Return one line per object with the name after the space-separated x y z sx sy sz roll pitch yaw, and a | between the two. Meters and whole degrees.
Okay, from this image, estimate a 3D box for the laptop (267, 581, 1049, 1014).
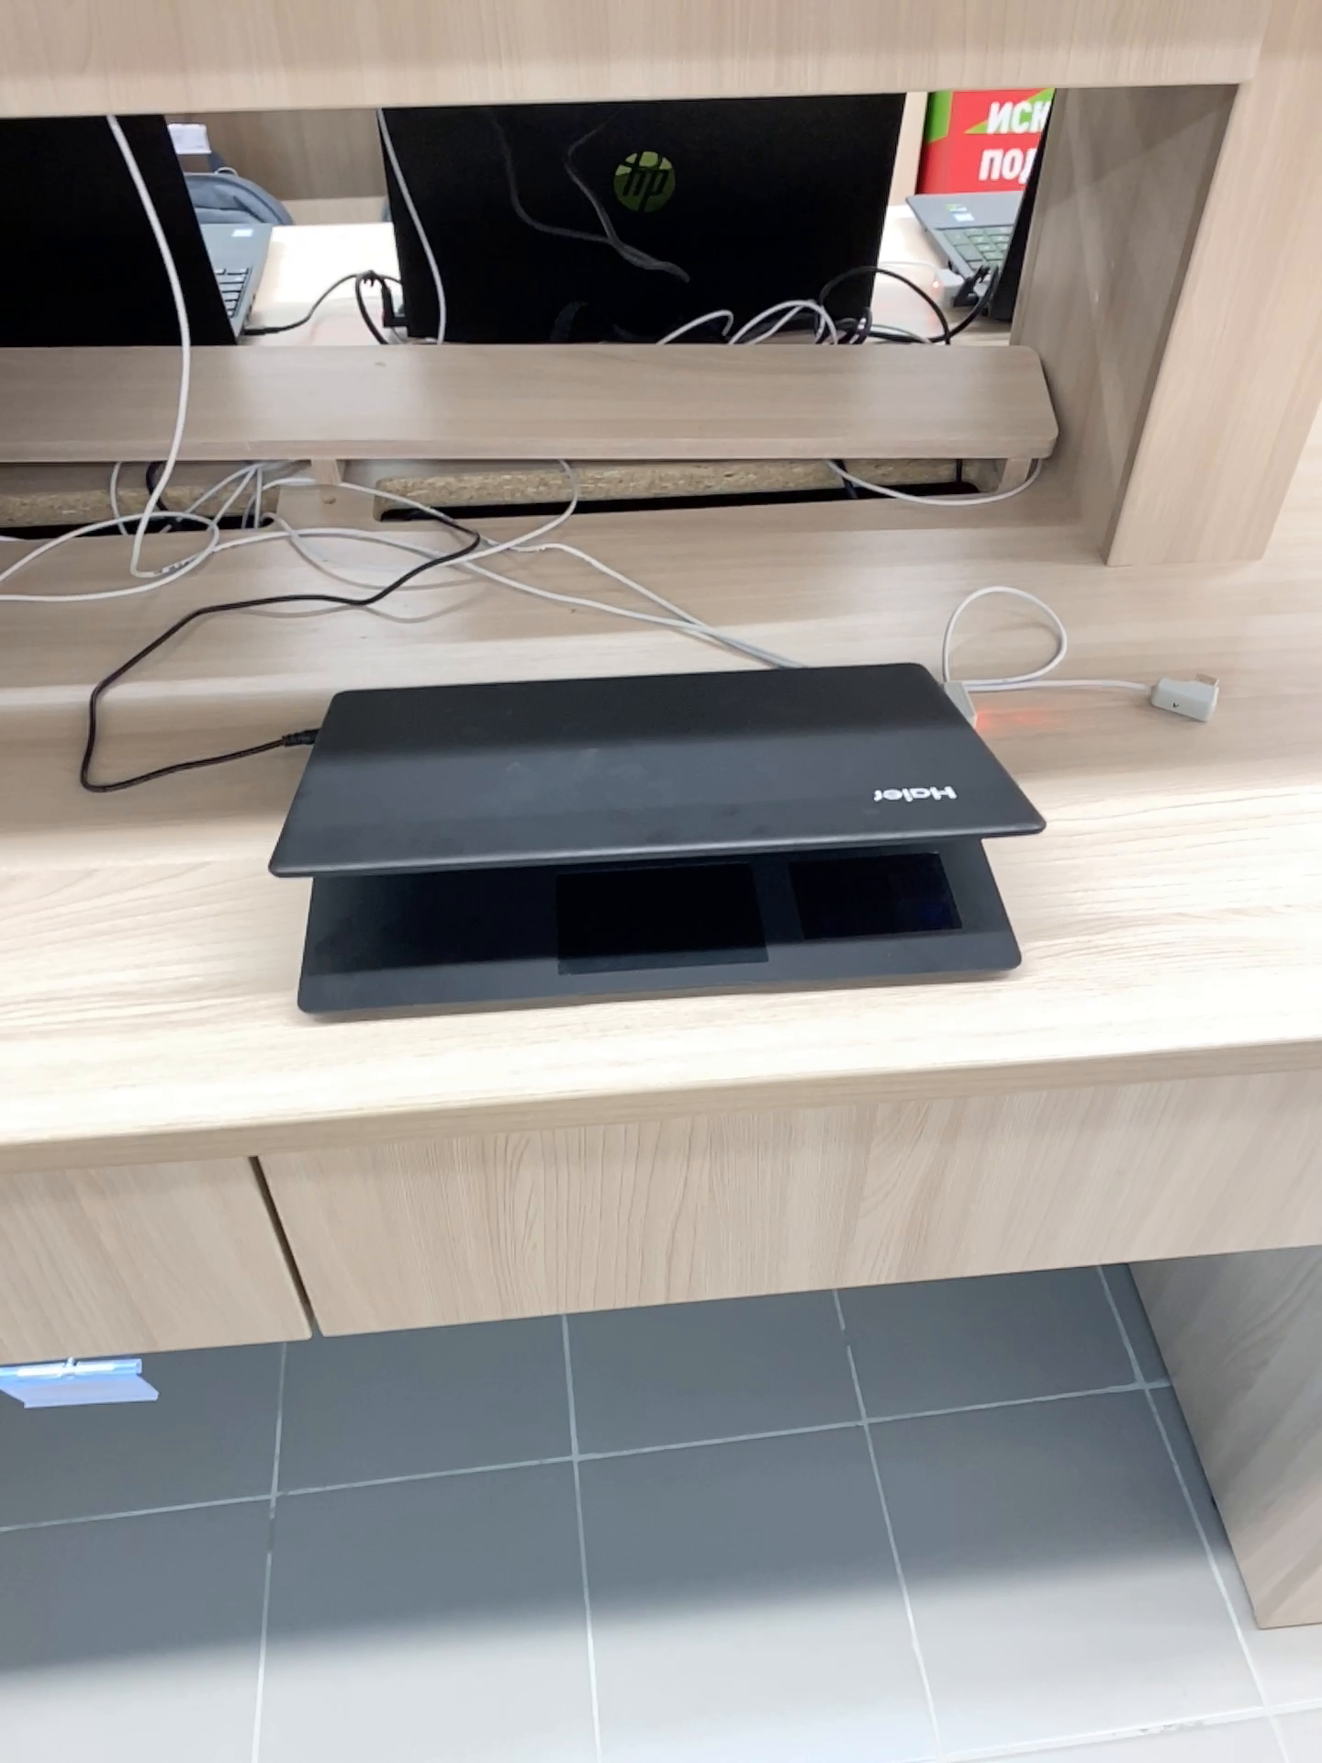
-0.006 -0.049 0.644 0.319 0.072 0.202 -3 46 -4 | laptop
